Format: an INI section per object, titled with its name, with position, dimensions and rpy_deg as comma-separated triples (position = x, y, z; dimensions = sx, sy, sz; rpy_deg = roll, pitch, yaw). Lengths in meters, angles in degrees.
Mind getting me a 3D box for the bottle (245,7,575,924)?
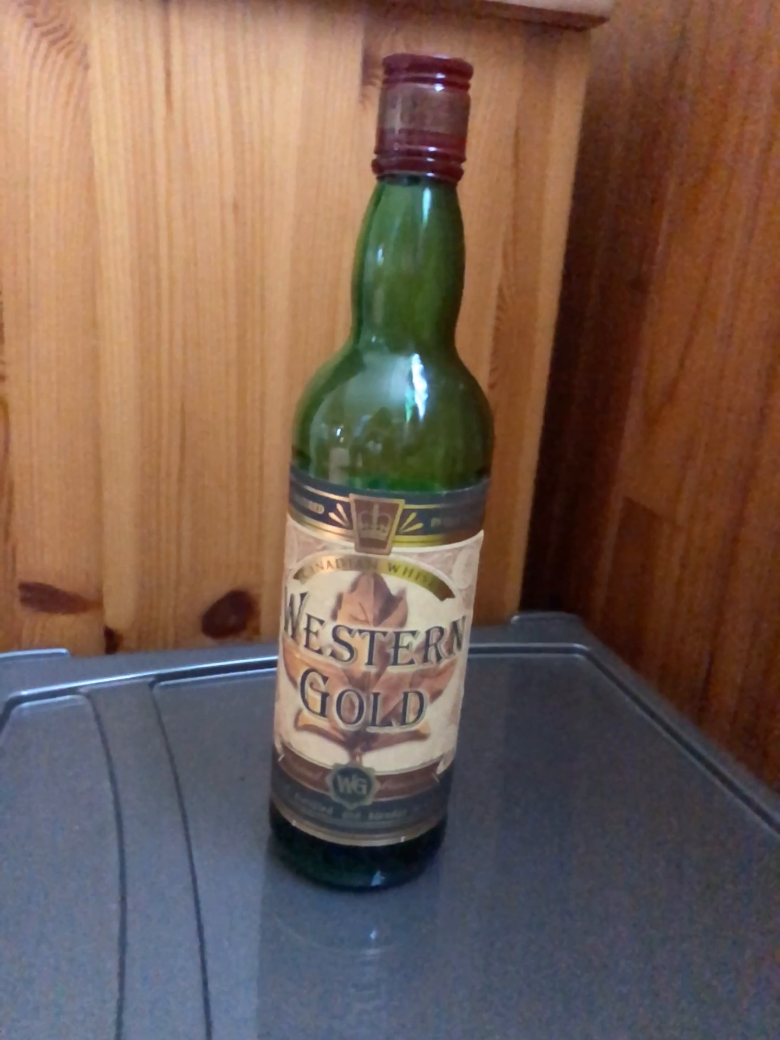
[bottle]
position = 0.005, -0.010, 0.320
dimensions = 0.080, 0.299, 0.080
rpy_deg = 5, 17, -1
